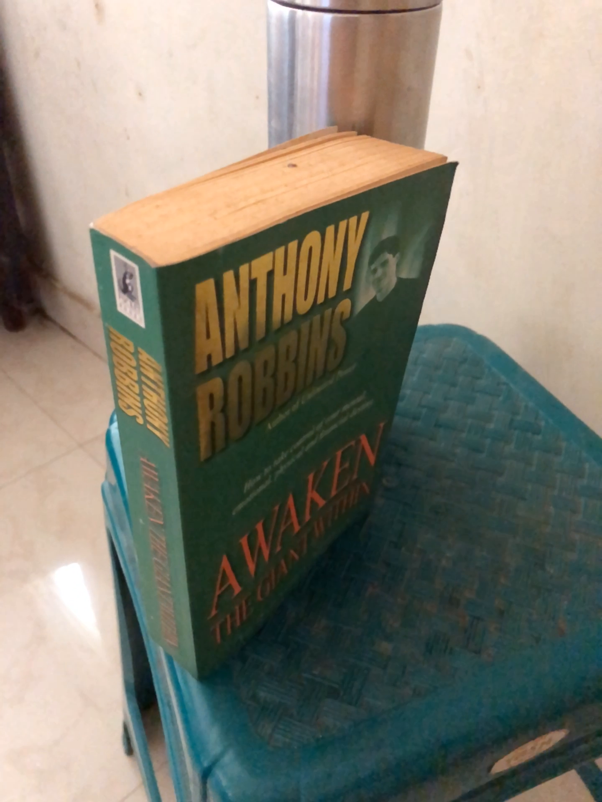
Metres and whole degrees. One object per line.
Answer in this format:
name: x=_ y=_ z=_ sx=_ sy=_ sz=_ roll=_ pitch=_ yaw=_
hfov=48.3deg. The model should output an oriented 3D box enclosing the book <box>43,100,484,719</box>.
book: x=-0.004 y=0.007 z=0.263 sx=0.050 sy=0.199 sz=0.140 roll=29 pitch=46 yaw=28
